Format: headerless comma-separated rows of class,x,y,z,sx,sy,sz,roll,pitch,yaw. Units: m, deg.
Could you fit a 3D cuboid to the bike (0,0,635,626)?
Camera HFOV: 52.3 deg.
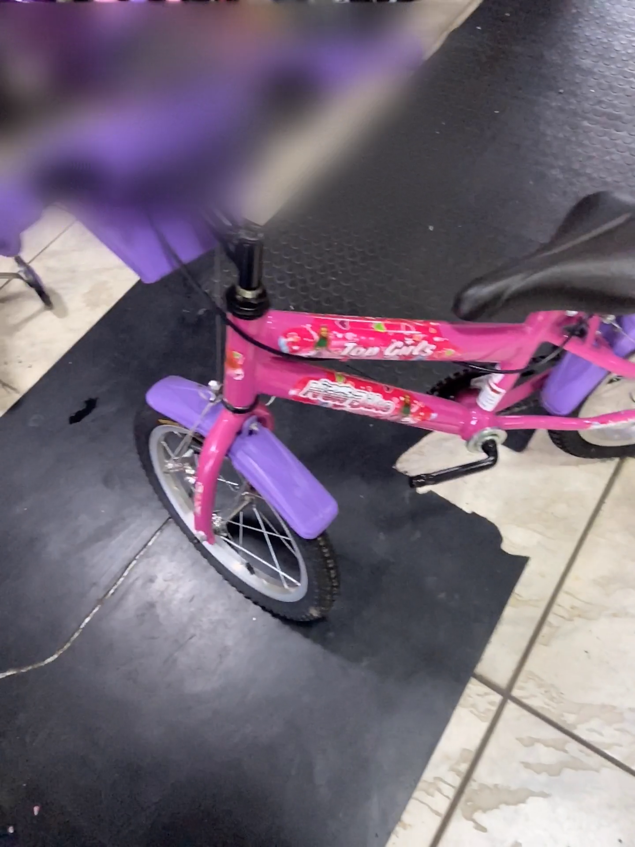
bike,0.141,-0.160,0.827,0.921,0.703,0.548,-12,57,6
